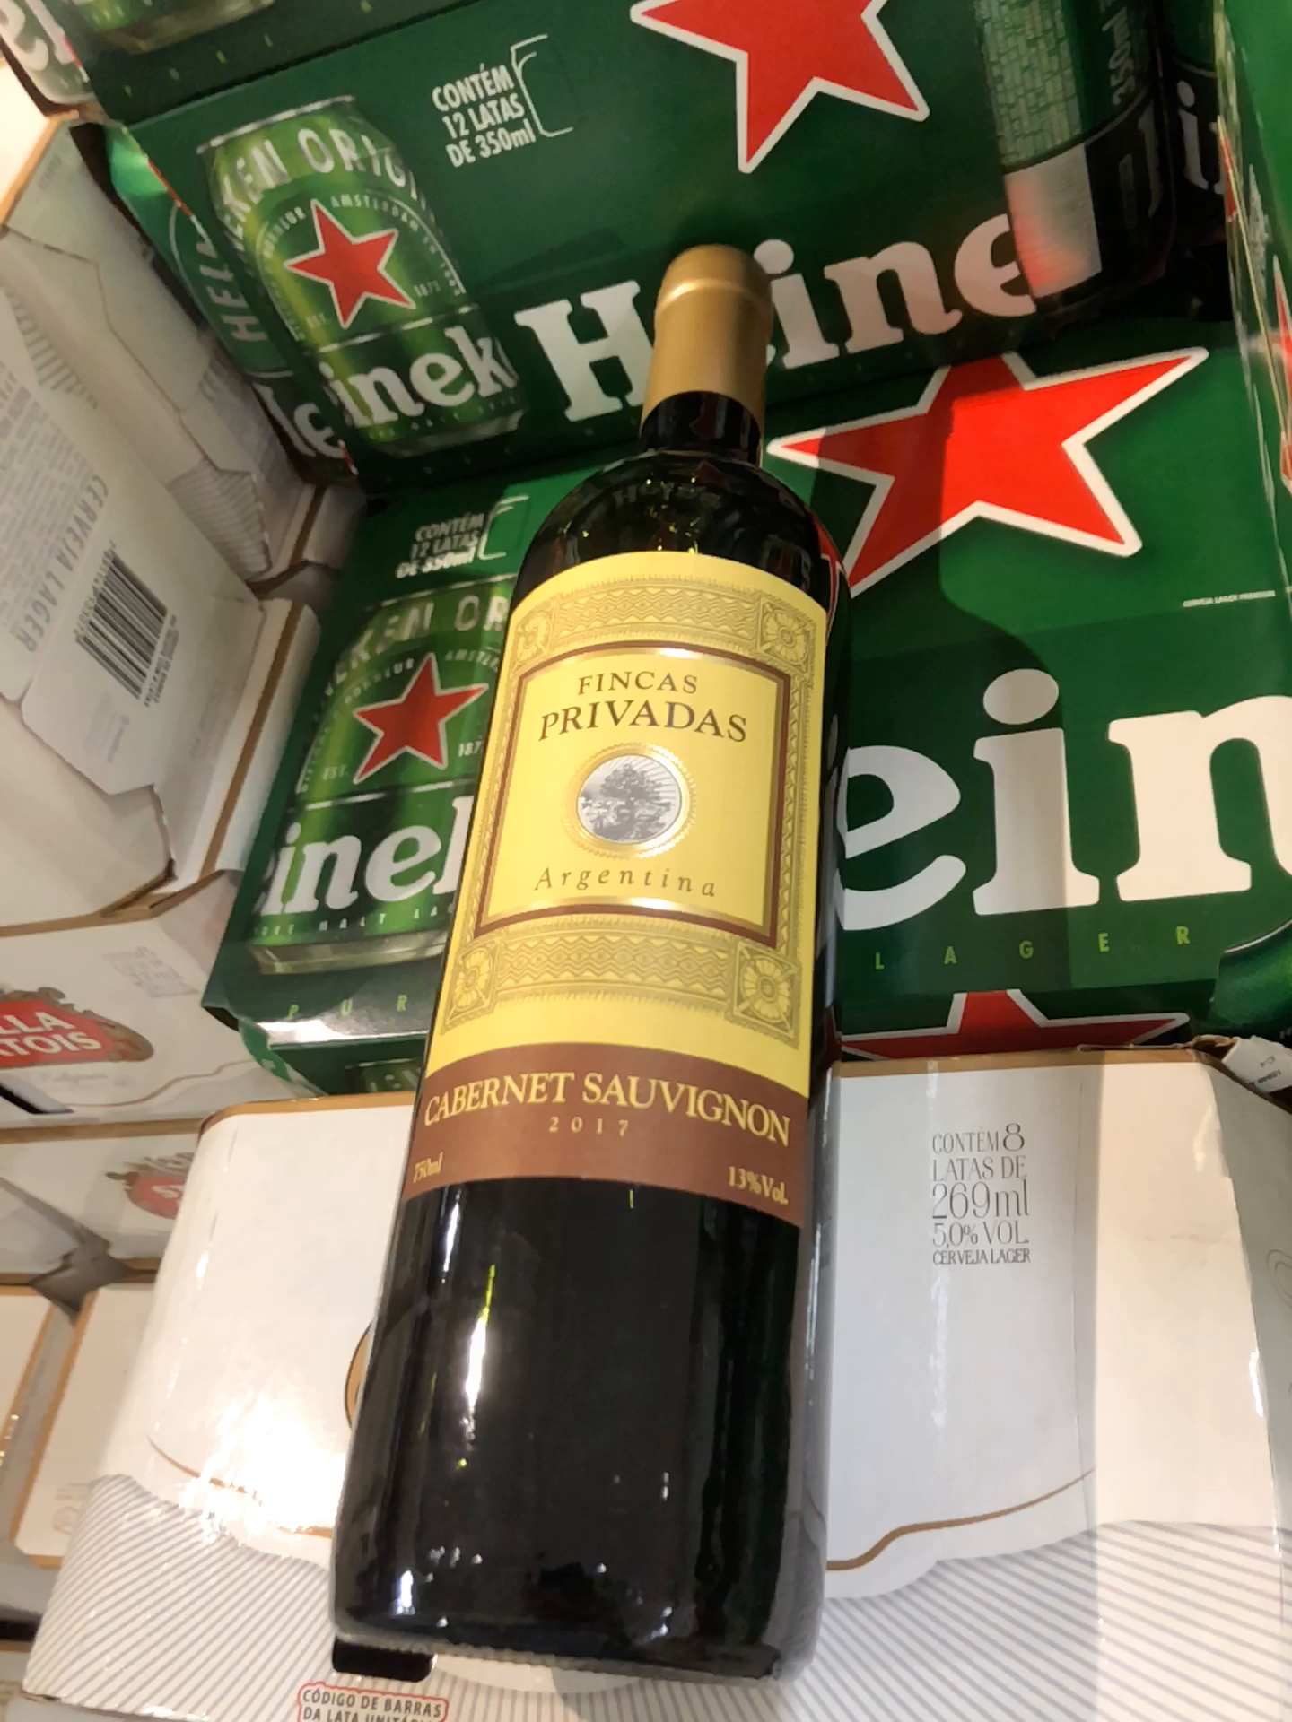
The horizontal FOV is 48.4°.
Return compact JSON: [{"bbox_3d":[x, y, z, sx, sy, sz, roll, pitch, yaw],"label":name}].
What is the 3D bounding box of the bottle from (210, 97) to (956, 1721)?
[{"bbox_3d":[0.013,-0.024,0.287,0.080,0.060,0.331,-6,54,22],"label":"bottle"}]
